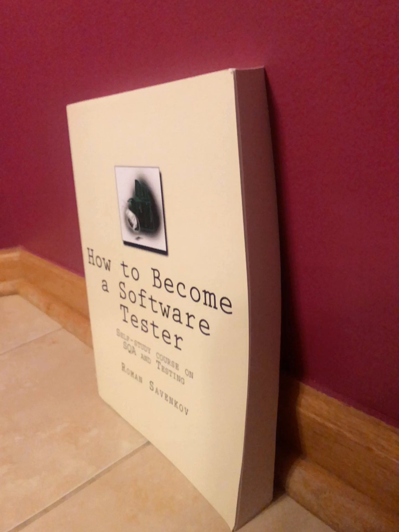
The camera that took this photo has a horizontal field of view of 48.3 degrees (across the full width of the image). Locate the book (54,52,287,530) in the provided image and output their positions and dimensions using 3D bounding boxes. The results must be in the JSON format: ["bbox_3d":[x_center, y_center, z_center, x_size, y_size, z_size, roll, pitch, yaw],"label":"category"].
[{"bbox_3d":[-0.033,0.008,0.342,0.045,0.274,0.220,-14,18,-34],"label":"book"}]
